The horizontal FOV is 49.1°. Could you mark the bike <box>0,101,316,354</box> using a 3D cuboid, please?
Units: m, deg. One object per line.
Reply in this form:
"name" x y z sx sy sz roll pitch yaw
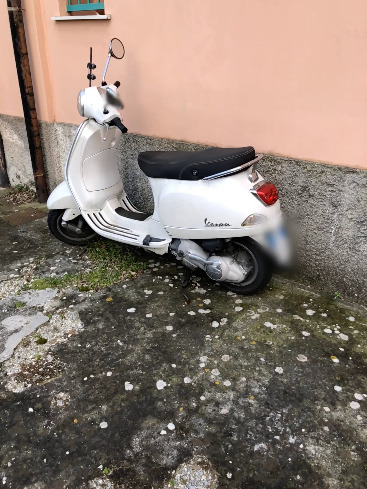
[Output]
"bike" -0.305 -0.209 2.273 1.658 1.085 0.647 11 27 27
